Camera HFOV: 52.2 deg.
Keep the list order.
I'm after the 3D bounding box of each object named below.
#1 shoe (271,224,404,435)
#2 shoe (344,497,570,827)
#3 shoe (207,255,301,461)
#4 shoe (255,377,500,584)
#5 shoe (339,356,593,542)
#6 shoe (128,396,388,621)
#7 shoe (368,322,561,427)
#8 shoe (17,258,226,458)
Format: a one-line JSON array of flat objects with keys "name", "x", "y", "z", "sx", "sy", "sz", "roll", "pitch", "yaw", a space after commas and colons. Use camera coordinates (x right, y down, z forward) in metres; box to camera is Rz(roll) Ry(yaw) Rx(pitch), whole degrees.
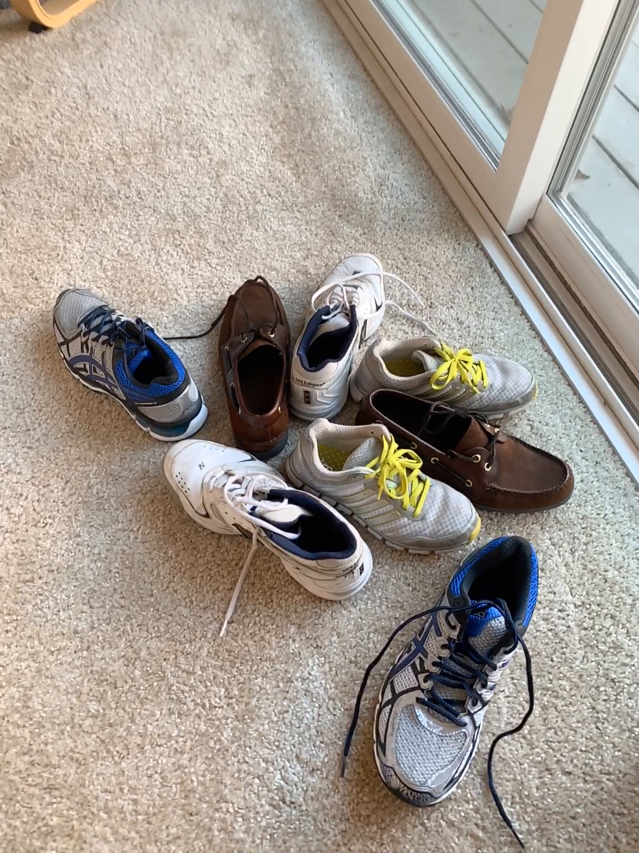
[{"name": "shoe", "x": 0.028, "y": -0.139, "z": 0.902, "sx": 0.100, "sy": 0.110, "sz": 0.271, "roll": 16, "pitch": 58, "yaw": 8}, {"name": "shoe", "x": 0.145, "y": 0.237, "z": 0.681, "sx": 0.110, "sy": 0.110, "sz": 0.291, "roll": 26, "pitch": 62, "yaw": 14}, {"name": "shoe", "x": -0.094, "y": -0.101, "z": 0.915, "sx": 0.100, "sy": 0.110, "sz": 0.271, "roll": -7, "pitch": 57, "yaw": -6}, {"name": "shoe", "x": 0.058, "y": 0.058, "z": 0.726, "sx": 0.240, "sy": 0.090, "sz": 0.100, "roll": 27, "pitch": 61, "yaw": 13}, {"name": "shoe", "x": 0.174, "y": 0.025, "z": 0.808, "sx": 0.280, "sy": 0.080, "sz": 0.100, "roll": 24, "pitch": 60, "yaw": 11}, {"name": "shoe", "x": -0.071, "y": 0.091, "z": 0.747, "sx": 0.280, "sy": 0.110, "sz": 0.090, "roll": 30, "pitch": 62, "yaw": 17}, {"name": "shoe", "x": 0.182, "y": -0.068, "z": 0.847, "sx": 0.230, "sy": 0.060, "sz": 0.100, "roll": 5, "pitch": 58, "yaw": 0}, {"name": "shoe", "x": -0.261, "y": -0.096, "z": 0.866, "sx": 0.271, "sy": 0.090, "sz": 0.110, "roll": 38, "pitch": 64, "yaw": 21}]
